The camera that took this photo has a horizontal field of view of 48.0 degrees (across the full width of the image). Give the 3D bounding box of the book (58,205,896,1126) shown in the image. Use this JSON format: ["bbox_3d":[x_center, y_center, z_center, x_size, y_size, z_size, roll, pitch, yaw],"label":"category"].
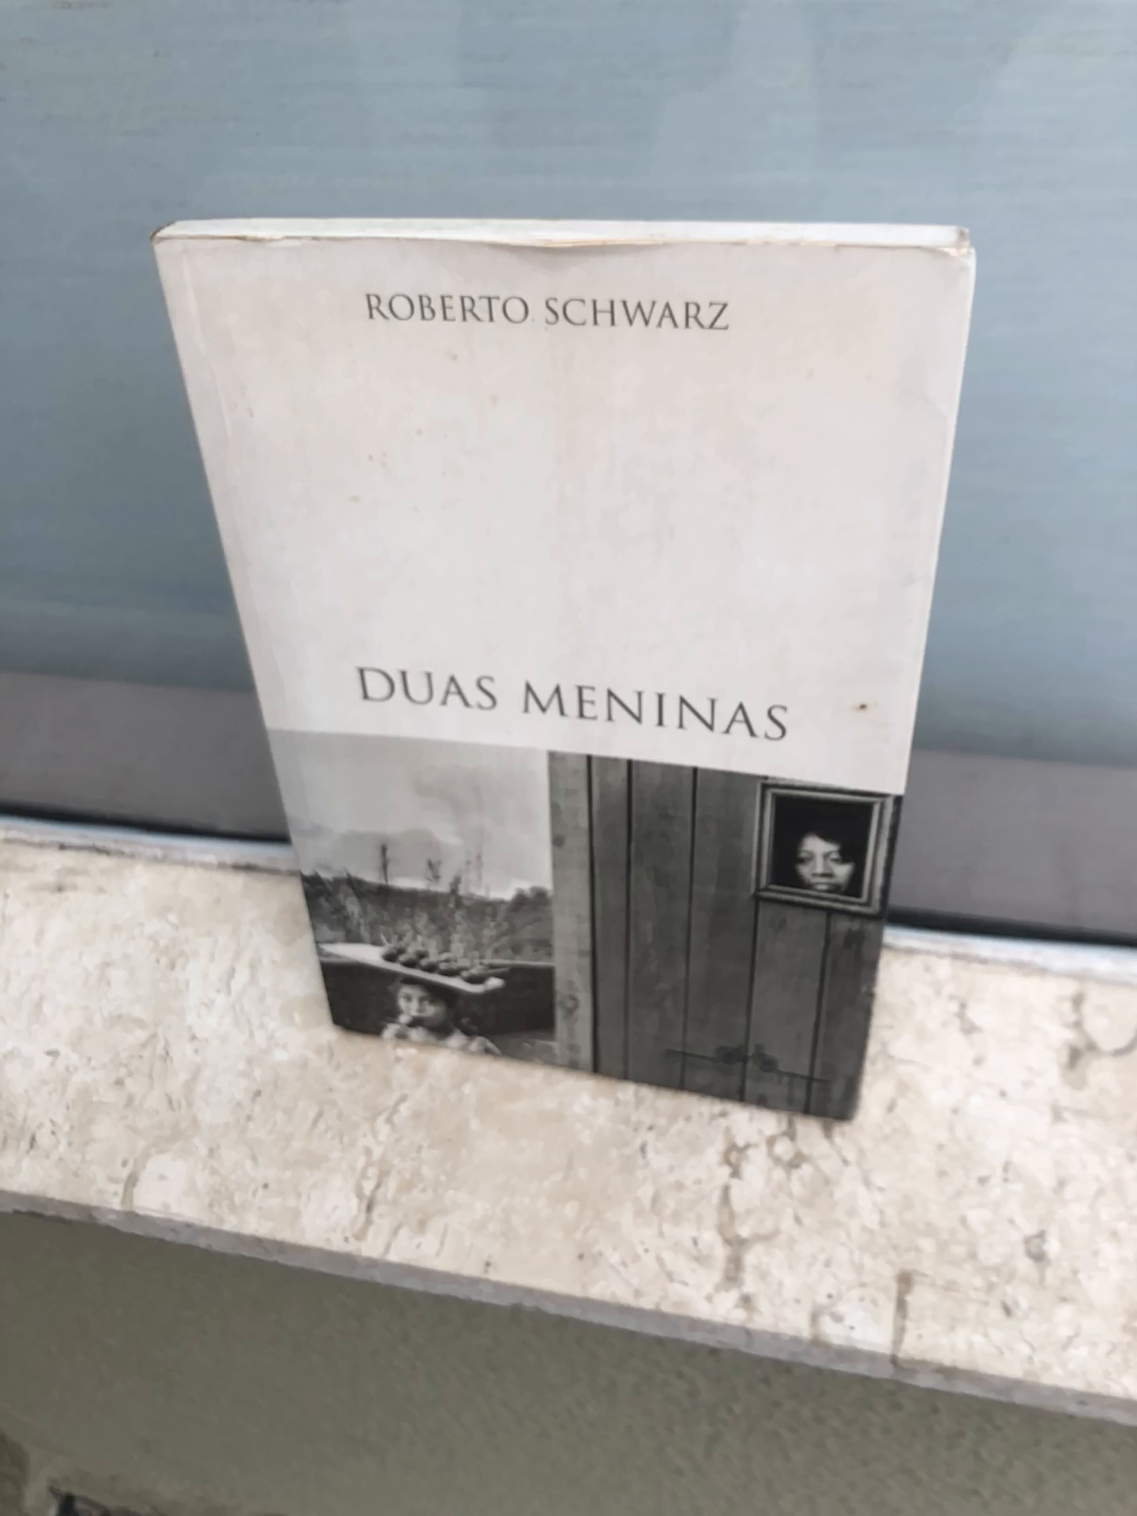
[{"bbox_3d":[-0.013,-0.006,0.270,0.139,0.204,0.016,7,38,14],"label":"book"}]
